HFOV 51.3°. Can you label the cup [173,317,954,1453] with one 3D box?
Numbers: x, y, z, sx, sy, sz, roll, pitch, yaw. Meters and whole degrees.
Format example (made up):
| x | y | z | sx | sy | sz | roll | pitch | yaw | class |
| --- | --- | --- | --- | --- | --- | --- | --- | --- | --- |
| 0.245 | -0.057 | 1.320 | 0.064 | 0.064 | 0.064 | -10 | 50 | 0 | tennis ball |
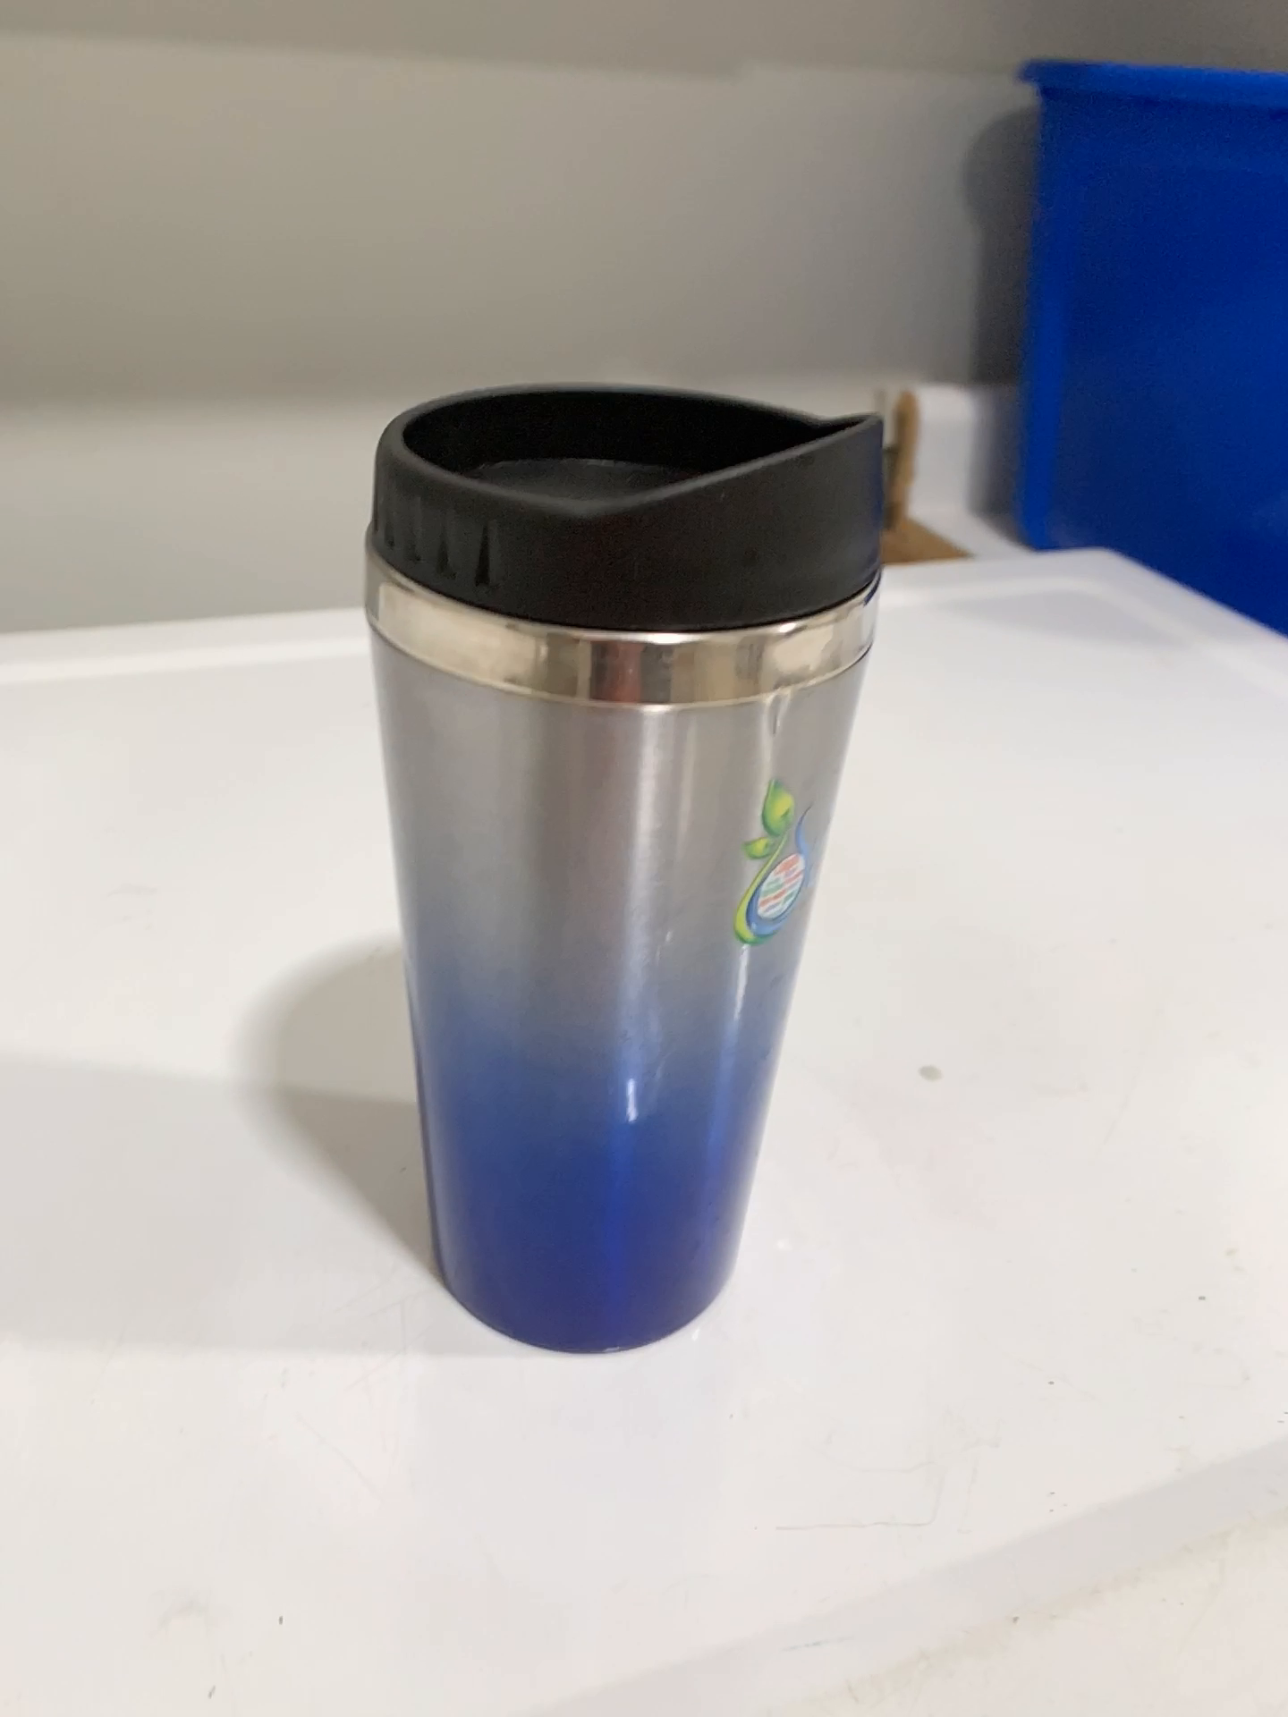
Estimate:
| x | y | z | sx | sy | sz | roll | pitch | yaw | class |
| --- | --- | --- | --- | --- | --- | --- | --- | --- | --- |
| -0.015 | 0.001 | 0.247 | 0.090 | 0.171 | 0.080 | 24 | 36 | 33 | cup |
